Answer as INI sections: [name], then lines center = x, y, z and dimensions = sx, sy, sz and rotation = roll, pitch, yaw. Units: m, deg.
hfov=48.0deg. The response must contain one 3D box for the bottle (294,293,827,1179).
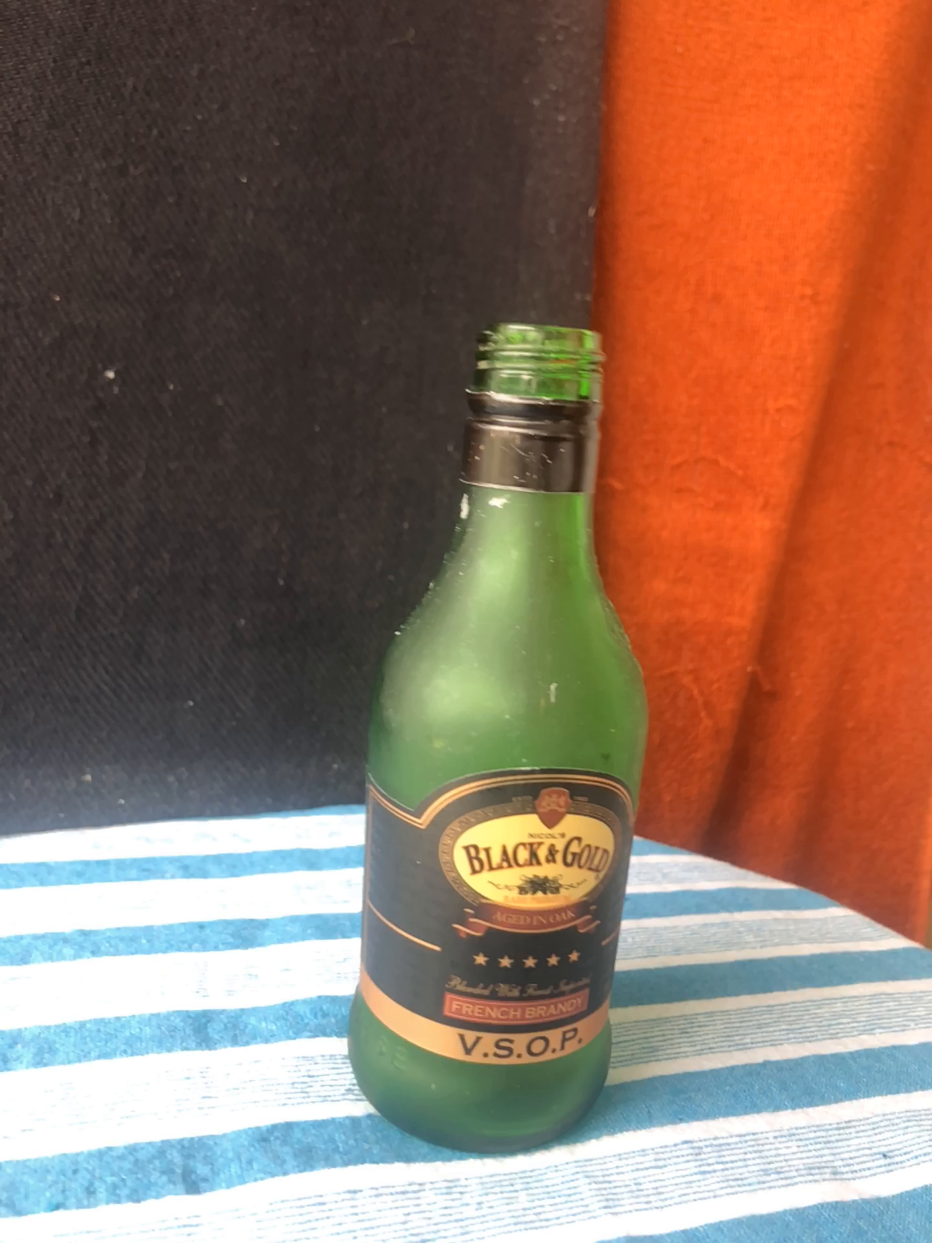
[bottle]
center = 0.010, 0.017, 0.195
dimensions = 0.060, 0.140, 0.060
rotation = 7, 11, -1
